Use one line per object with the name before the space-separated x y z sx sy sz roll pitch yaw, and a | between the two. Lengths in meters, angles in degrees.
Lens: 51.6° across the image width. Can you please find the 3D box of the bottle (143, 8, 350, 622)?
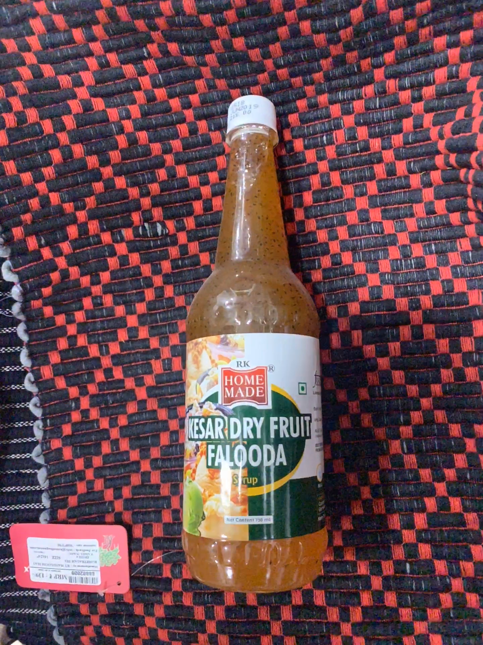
bottle | 0.005 -0.009 0.252 0.080 0.070 0.260 -3 80 15
